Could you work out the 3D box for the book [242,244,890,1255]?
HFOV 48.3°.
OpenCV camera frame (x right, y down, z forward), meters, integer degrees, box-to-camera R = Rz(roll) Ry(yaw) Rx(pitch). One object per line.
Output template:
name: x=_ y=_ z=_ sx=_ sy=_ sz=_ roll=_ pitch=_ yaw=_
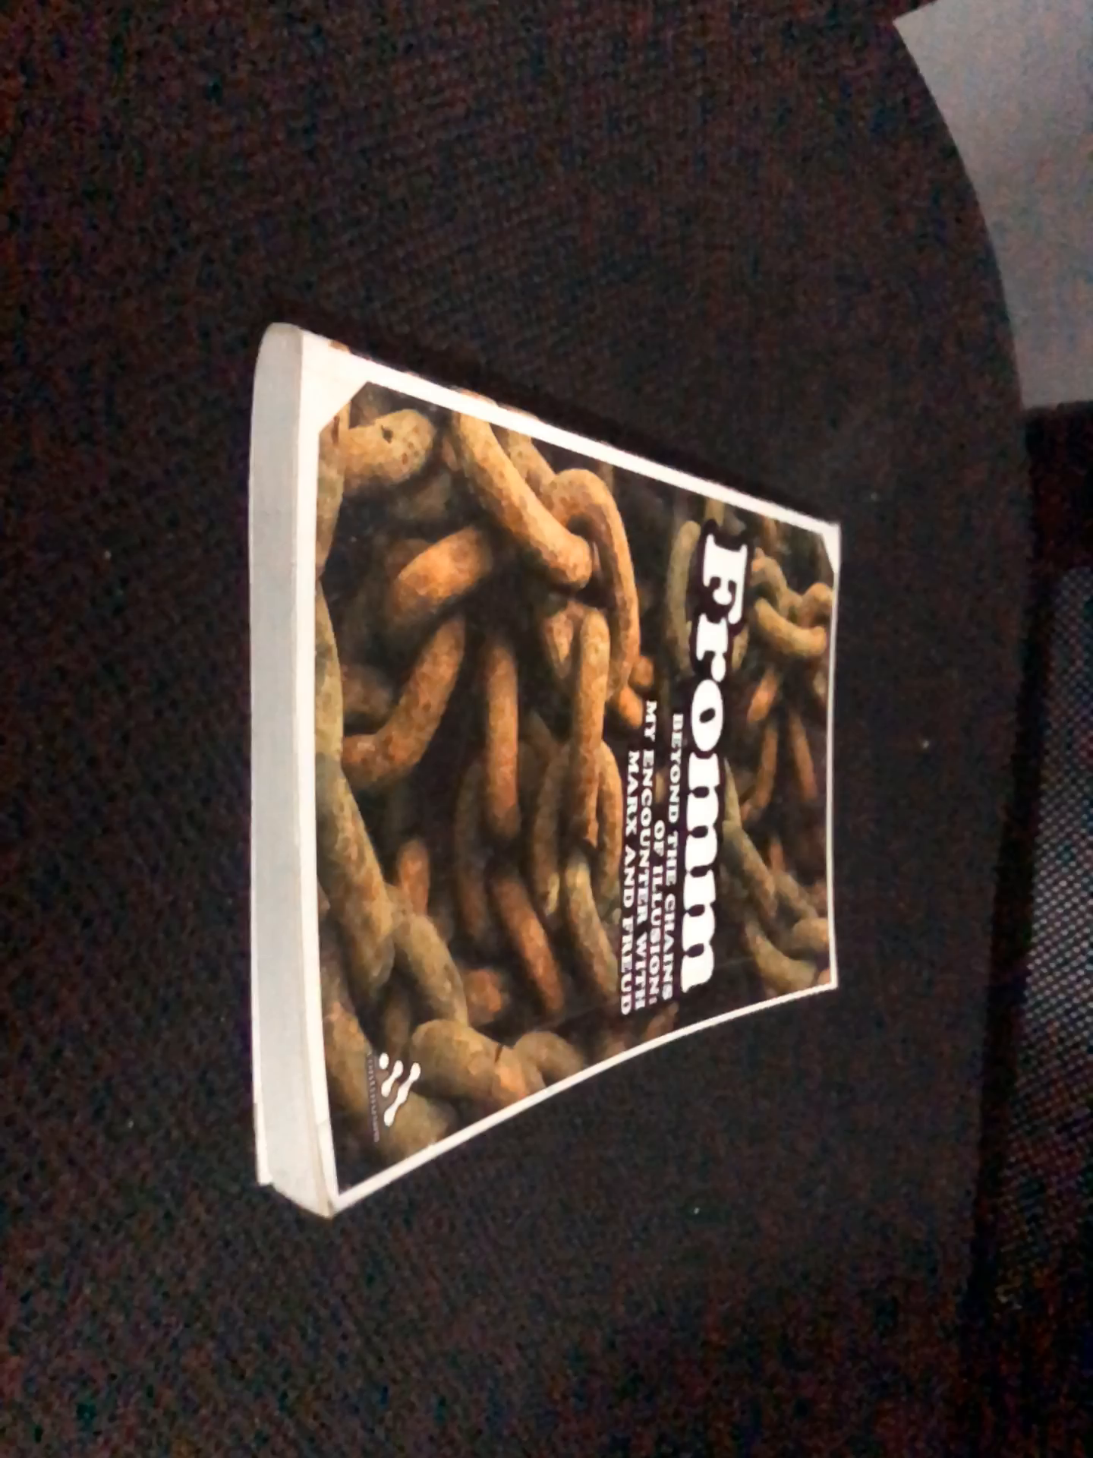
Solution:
book: x=0.022 y=0.005 z=0.254 sx=0.196 sy=0.016 sz=0.144 roll=3 pitch=85 yaw=-51
